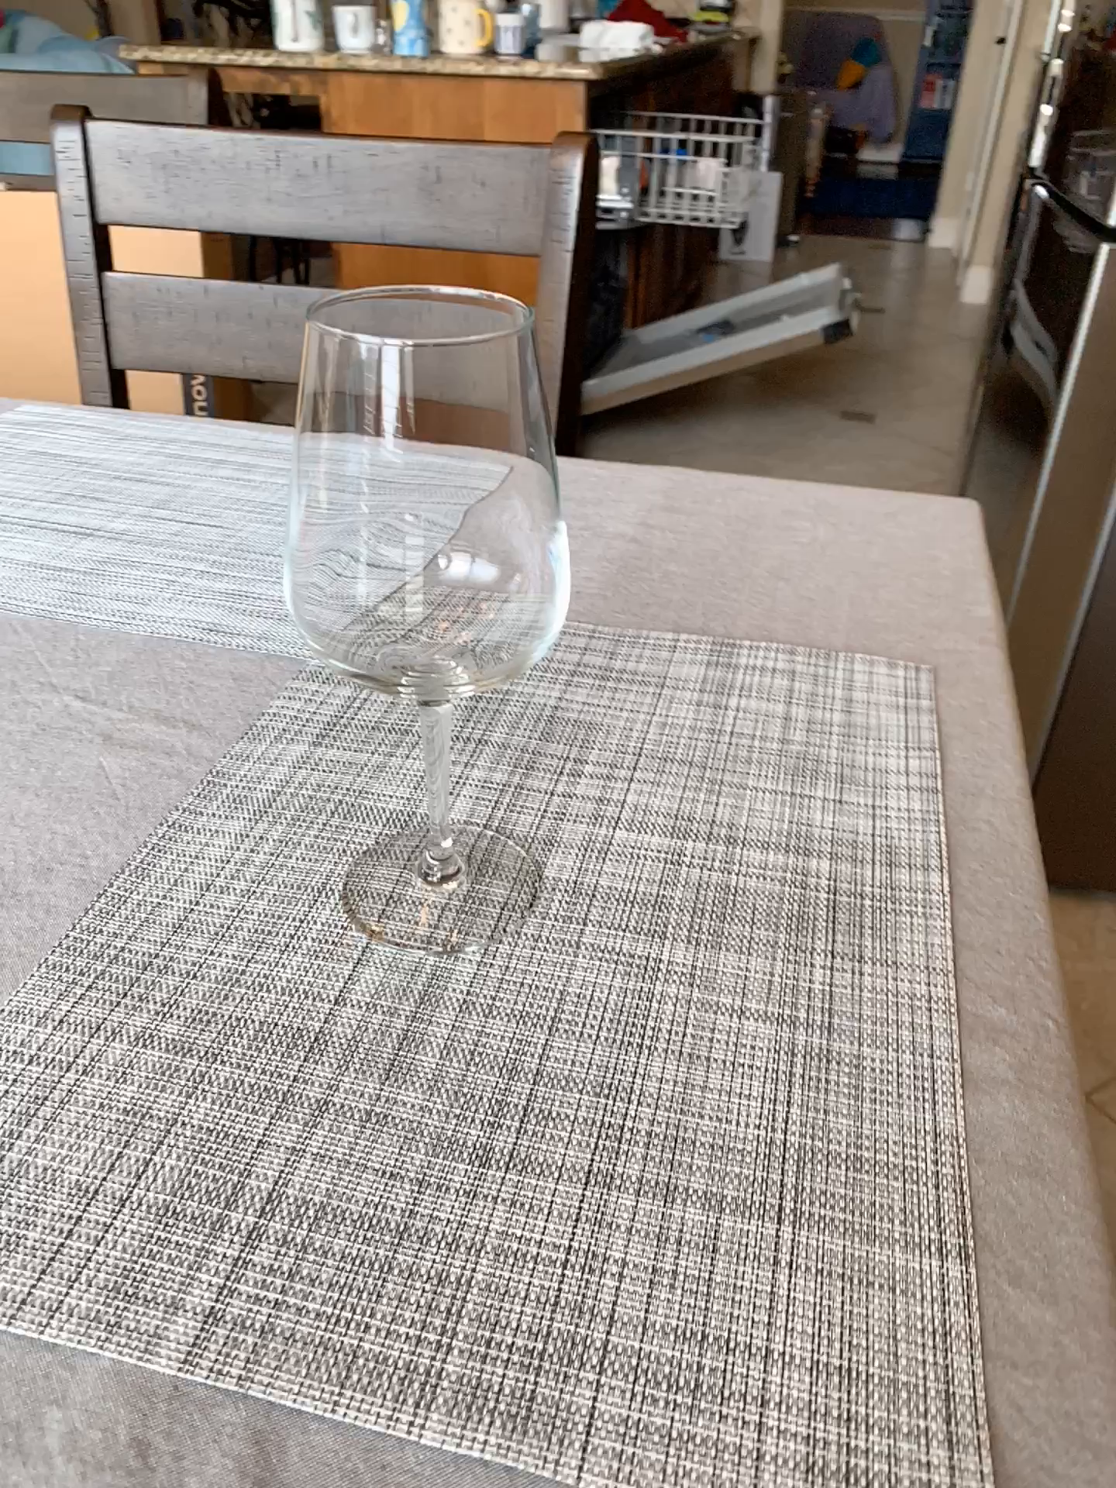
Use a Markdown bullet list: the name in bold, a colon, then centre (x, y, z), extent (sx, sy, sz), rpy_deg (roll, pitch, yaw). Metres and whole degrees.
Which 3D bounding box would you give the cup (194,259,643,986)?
- **cup**: centre (-0.038, -0.042, 0.401), extent (0.100, 0.214, 0.108), rpy_deg (1, 33, -1)
